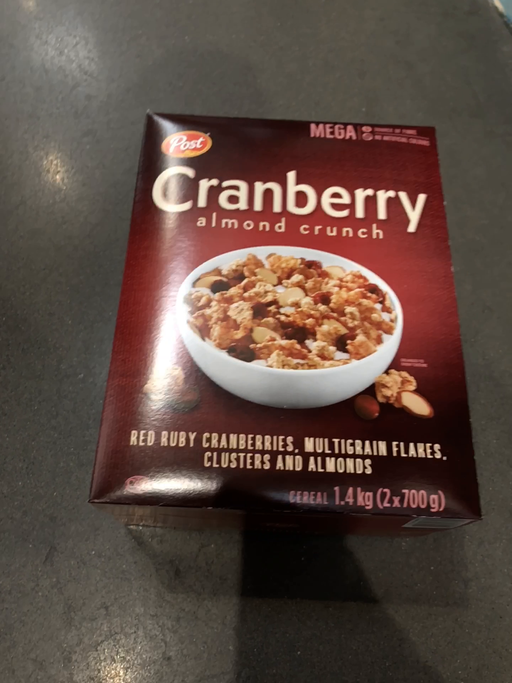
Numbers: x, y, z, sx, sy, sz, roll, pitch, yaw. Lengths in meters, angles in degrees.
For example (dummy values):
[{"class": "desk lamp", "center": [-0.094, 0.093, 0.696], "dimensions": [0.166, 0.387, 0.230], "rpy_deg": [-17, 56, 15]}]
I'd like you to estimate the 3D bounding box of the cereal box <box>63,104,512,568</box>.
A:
[{"class": "cereal box", "center": [0.030, -0.004, 0.437], "dimensions": [0.260, 0.130, 0.310], "rpy_deg": [4, 67, -1]}]
